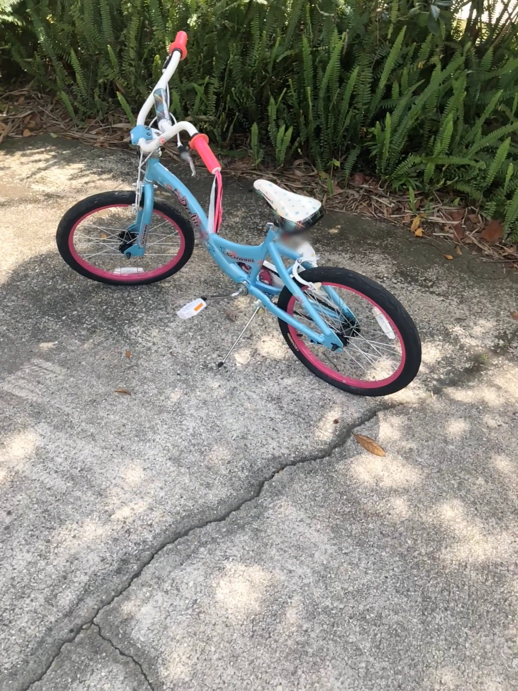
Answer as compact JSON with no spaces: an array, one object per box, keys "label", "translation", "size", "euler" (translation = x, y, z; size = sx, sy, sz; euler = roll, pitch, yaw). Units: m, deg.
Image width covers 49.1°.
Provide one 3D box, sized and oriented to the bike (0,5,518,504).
[{"label":"bike","translation":[-0.133,-0.327,1.684],"size":[1.310,0.923,0.703],"euler":[21,40,16]}]
